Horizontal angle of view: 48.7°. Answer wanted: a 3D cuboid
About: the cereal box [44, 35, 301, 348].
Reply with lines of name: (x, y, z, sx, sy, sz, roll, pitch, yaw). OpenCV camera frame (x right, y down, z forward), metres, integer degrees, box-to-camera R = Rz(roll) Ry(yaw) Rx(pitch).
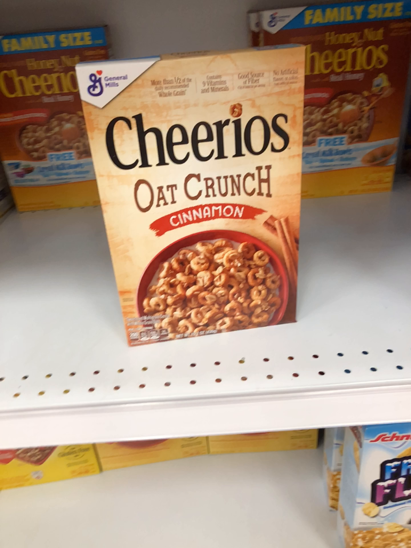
cereal box: (-0.016, -0.066, 0.446, 0.200, 0.279, 0.050, -8, 31, -4)
